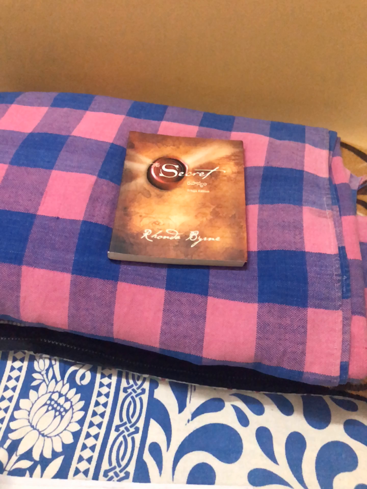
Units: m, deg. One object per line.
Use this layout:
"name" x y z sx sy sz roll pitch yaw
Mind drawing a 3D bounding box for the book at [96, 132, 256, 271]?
"book" -0.003 -0.057 0.450 0.150 0.020 0.191 3 50 0
